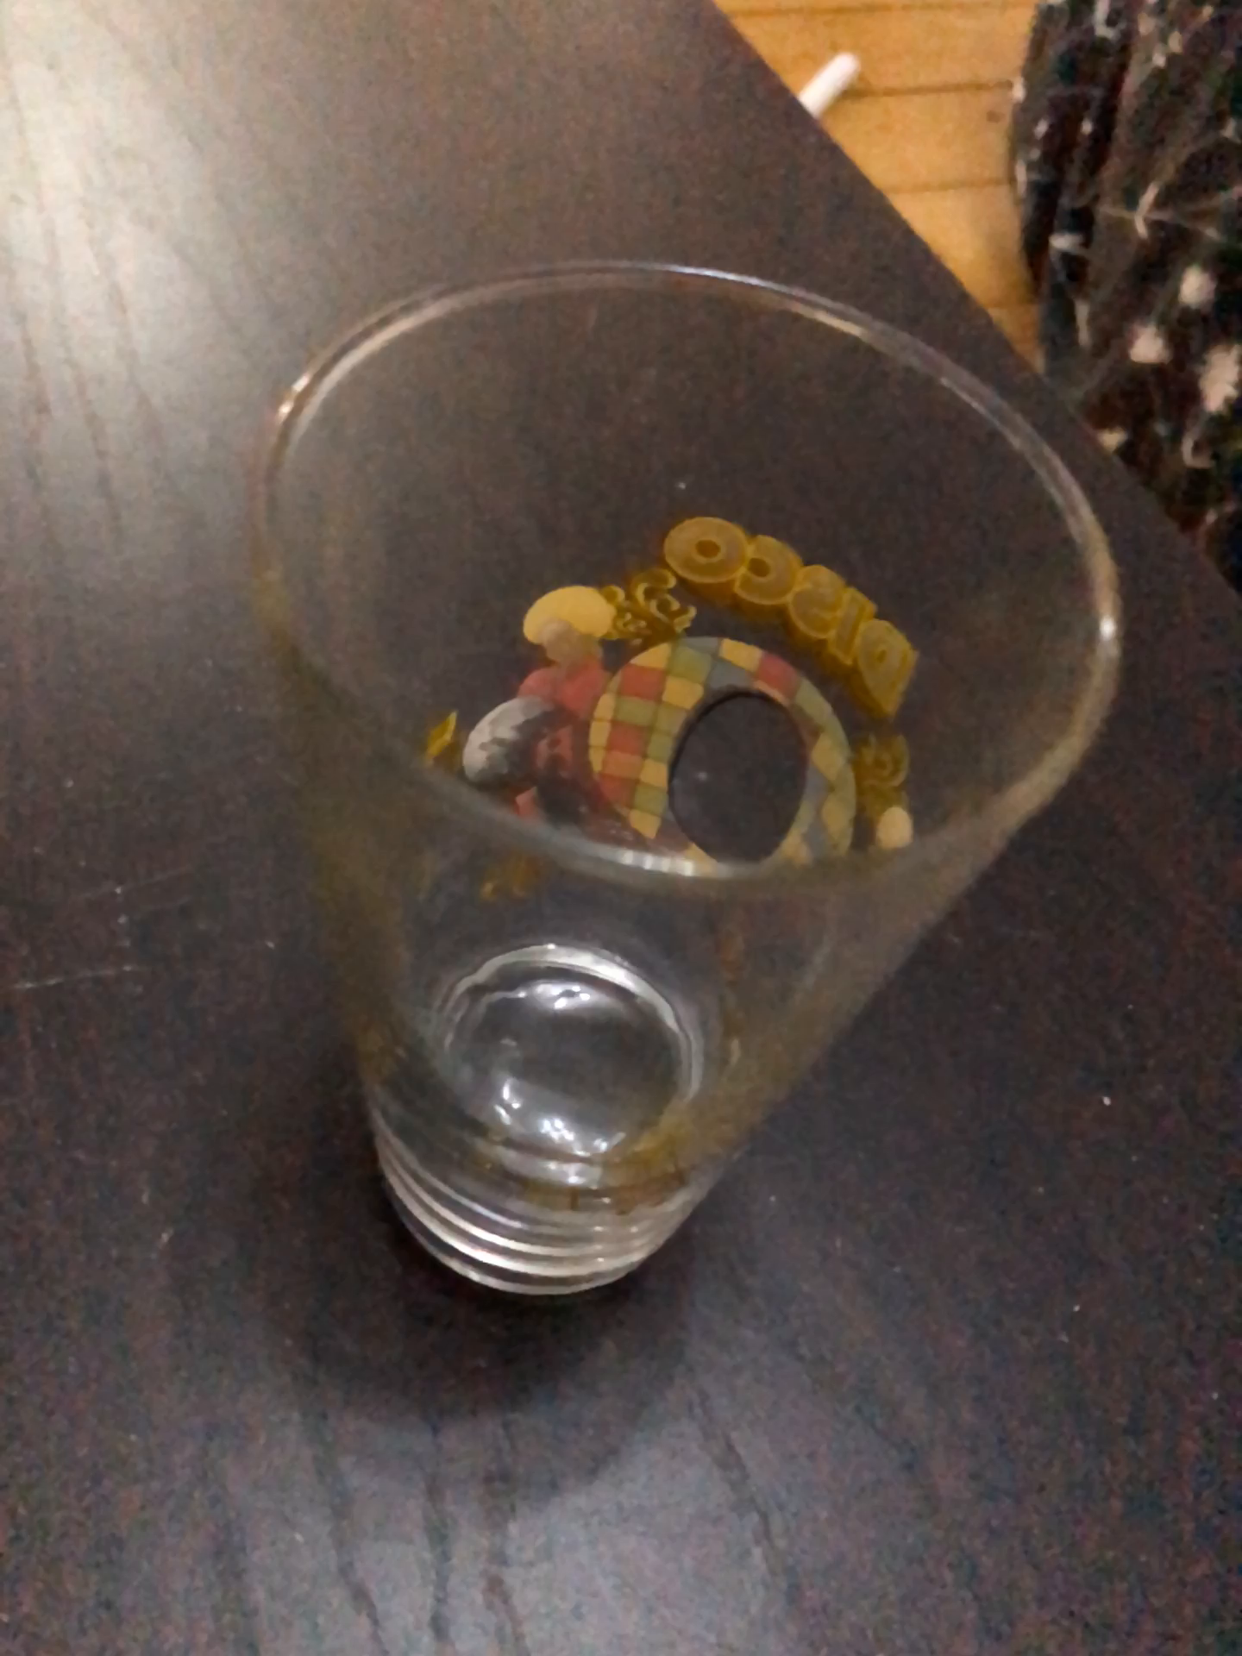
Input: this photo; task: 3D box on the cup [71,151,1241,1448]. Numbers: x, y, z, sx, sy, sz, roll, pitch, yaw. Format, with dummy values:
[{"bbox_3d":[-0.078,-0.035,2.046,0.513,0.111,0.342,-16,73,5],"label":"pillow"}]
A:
[{"bbox_3d":[0.003,0.003,0.164,0.080,0.109,0.080,5,53,-7],"label":"cup"}]
